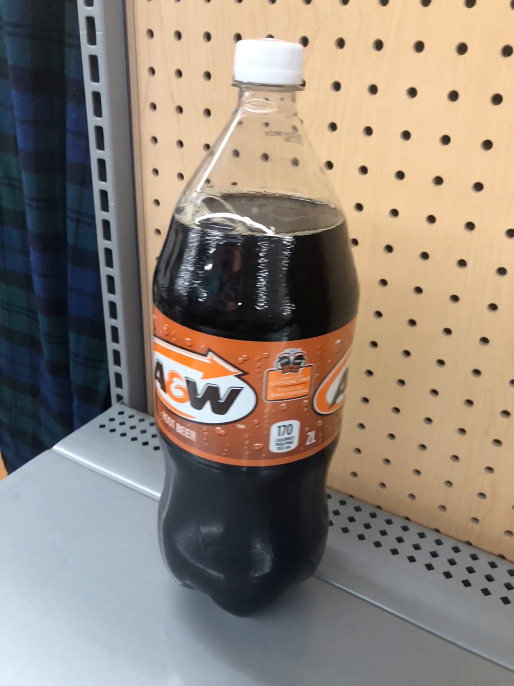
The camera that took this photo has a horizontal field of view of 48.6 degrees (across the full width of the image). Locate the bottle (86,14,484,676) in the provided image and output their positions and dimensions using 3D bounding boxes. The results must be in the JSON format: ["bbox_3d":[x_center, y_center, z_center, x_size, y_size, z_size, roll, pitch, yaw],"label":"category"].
[{"bbox_3d":[0.007,0.002,0.311,0.120,0.308,0.120,2,27,-1],"label":"bottle"}]
